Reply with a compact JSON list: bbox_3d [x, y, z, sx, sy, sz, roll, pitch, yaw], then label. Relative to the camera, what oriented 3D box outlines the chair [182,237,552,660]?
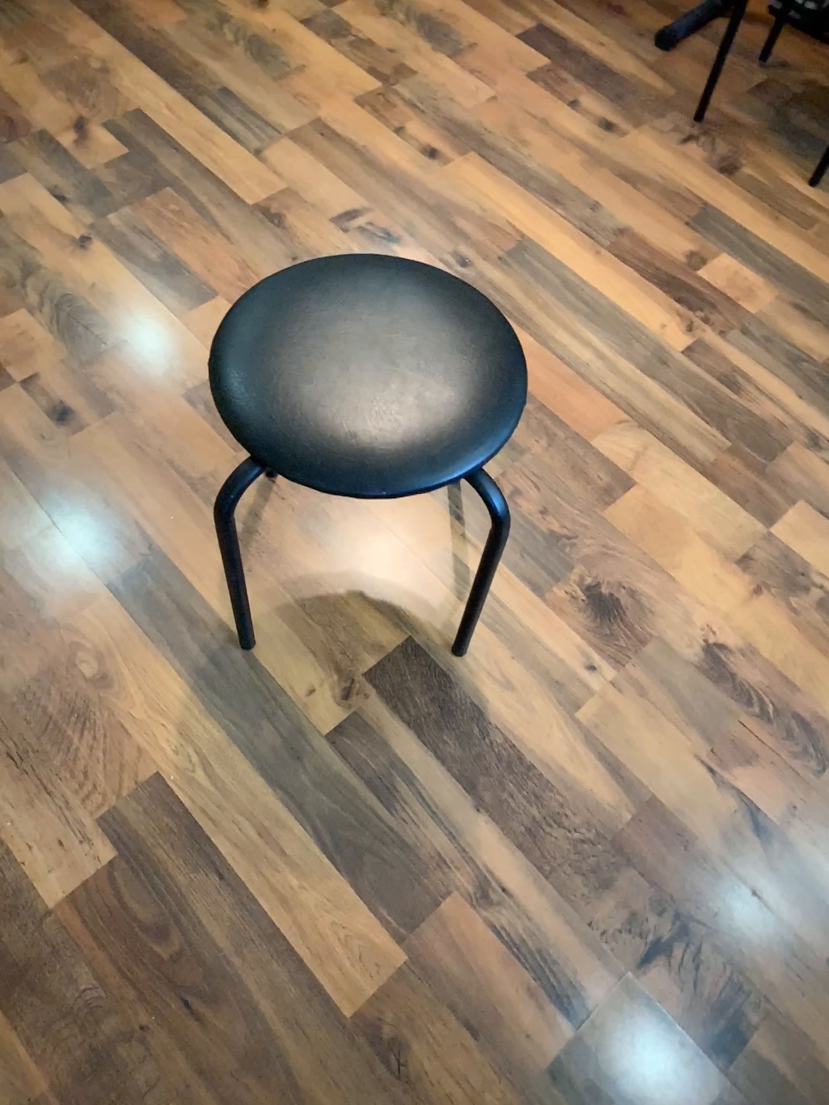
[{"bbox_3d":[-0.055,-0.103,1.071,0.350,0.427,0.332,2,61,-3],"label":"chair"}]
